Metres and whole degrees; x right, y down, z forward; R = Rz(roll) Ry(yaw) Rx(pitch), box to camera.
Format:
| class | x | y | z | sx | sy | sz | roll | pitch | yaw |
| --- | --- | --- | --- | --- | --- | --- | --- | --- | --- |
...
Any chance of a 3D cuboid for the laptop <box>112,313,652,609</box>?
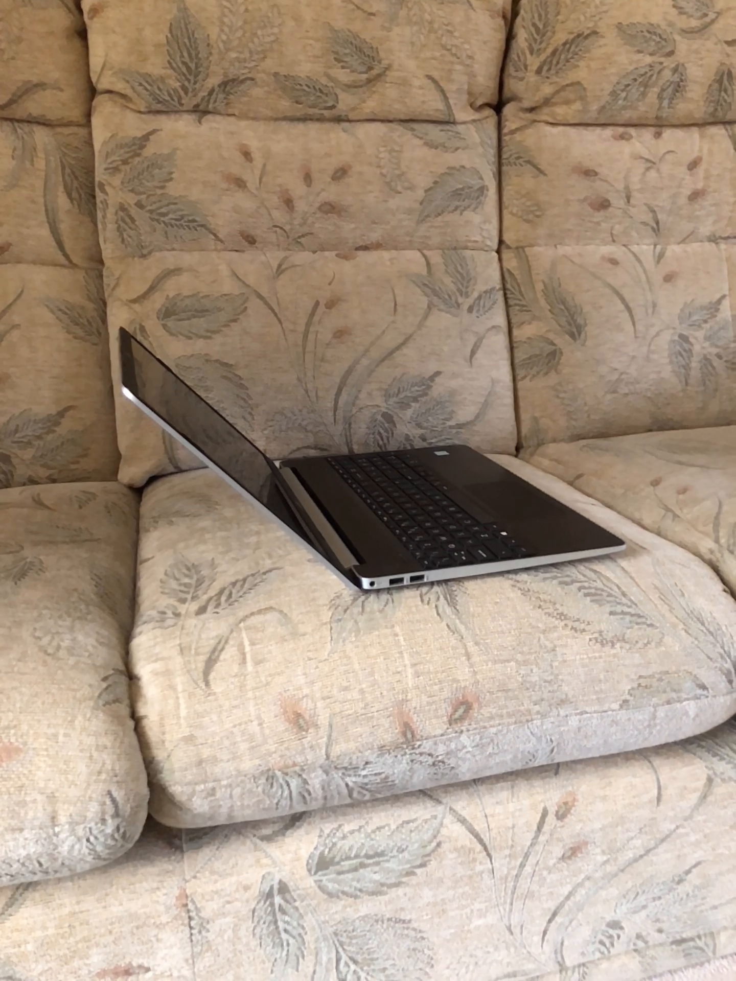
| class | x | y | z | sx | sy | sz | roll | pitch | yaw |
| --- | --- | --- | --- | --- | --- | --- | --- | --- | --- |
| laptop | -0.018 | -0.060 | 0.753 | 0.397 | 0.163 | 0.340 | -6 | 21 | -17 |
